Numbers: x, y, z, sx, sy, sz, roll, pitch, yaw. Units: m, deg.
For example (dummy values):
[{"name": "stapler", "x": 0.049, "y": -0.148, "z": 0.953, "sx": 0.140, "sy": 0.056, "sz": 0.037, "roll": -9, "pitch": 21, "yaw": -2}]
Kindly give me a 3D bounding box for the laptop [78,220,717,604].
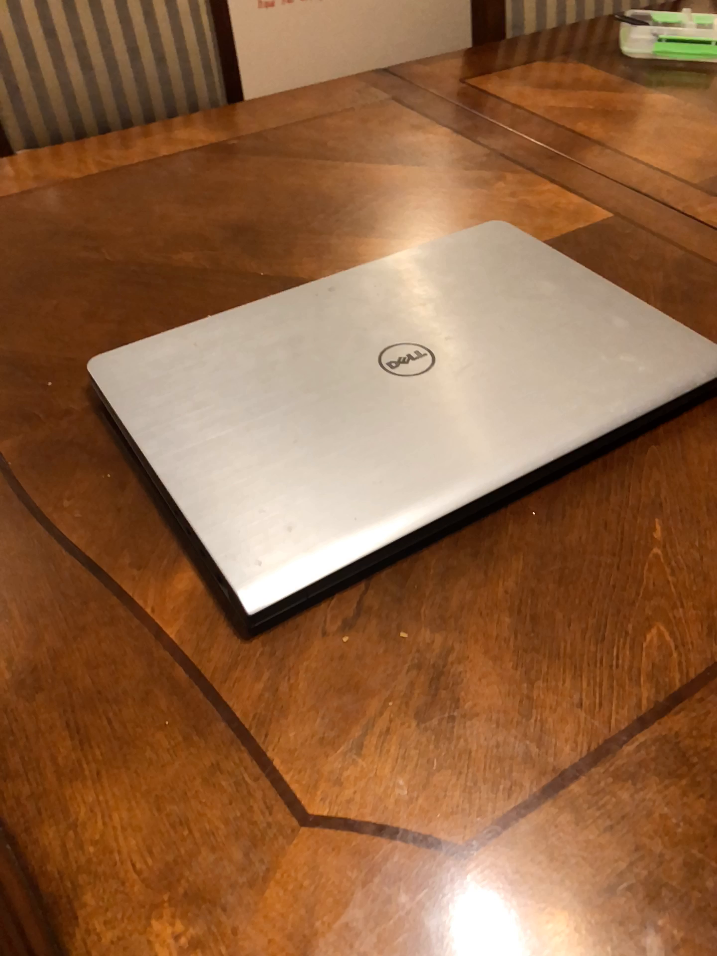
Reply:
[{"name": "laptop", "x": 0.026, "y": -0.079, "z": 0.535, "sx": 0.364, "sy": 0.002, "sz": 0.244, "roll": -25, "pitch": 49, "yaw": -22}]
